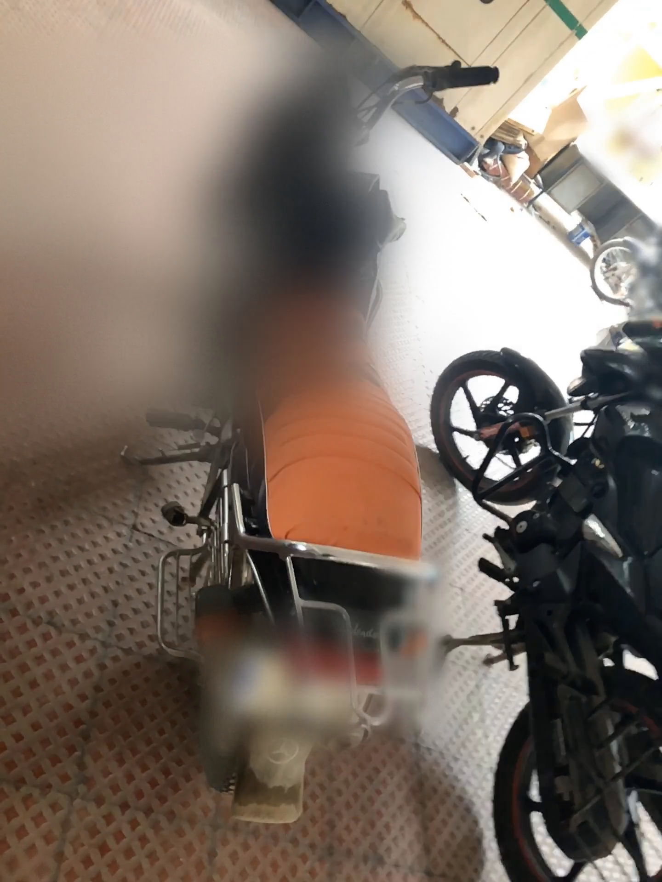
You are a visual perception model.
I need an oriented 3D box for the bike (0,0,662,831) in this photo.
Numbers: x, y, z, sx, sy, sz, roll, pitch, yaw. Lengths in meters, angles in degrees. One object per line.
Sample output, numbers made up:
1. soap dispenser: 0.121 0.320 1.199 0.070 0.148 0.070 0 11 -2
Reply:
1. bike: -0.159 -0.189 1.434 0.690 1.124 1.406 25 39 -33
